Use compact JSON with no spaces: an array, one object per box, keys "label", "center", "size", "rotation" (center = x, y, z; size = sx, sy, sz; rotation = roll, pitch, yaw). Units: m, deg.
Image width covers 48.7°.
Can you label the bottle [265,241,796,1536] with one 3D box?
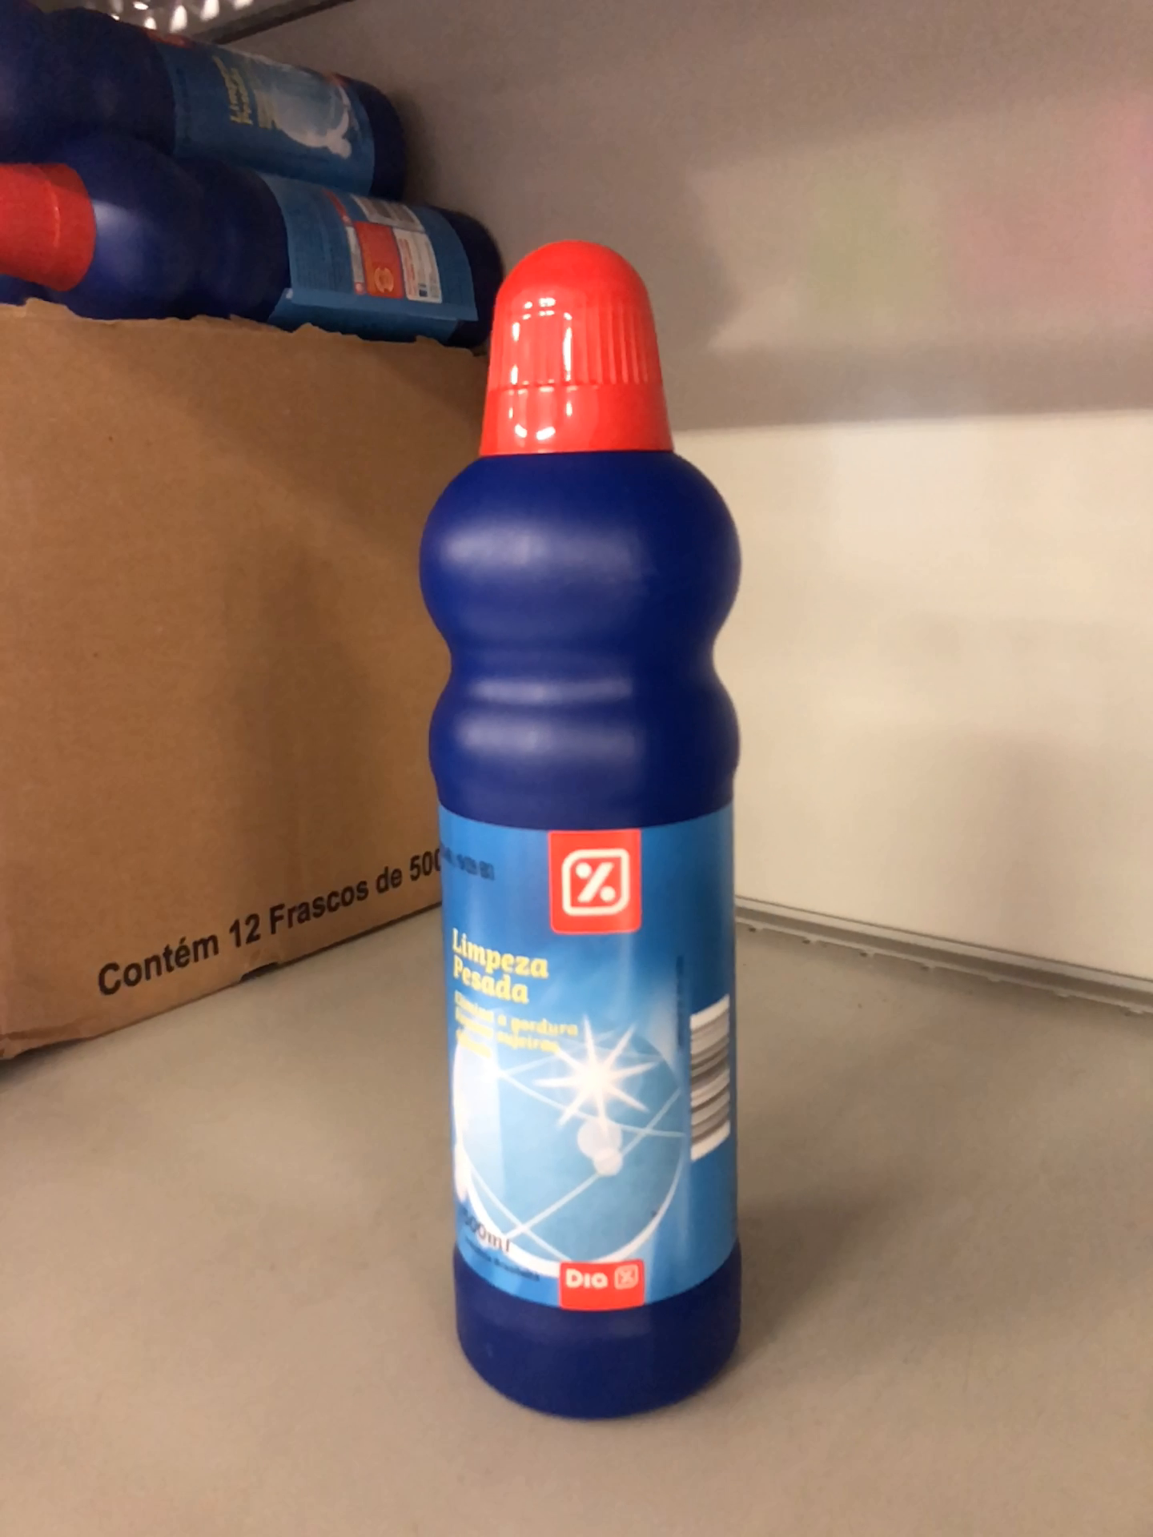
[{"label":"bottle","center":[-0.002,0.026,0.266],"size":[0.070,0.239,0.070],"rotation":[-3,12,1]}]
